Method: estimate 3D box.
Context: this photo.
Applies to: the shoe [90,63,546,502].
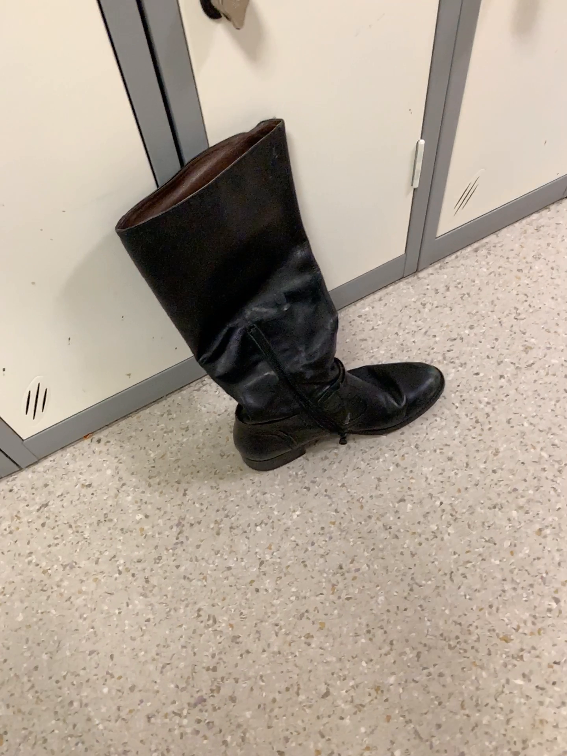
[{"bbox_3d":[0.032,-0.071,0.585,0.313,0.331,0.169,-20,56,-7],"label":"shoe"}]
